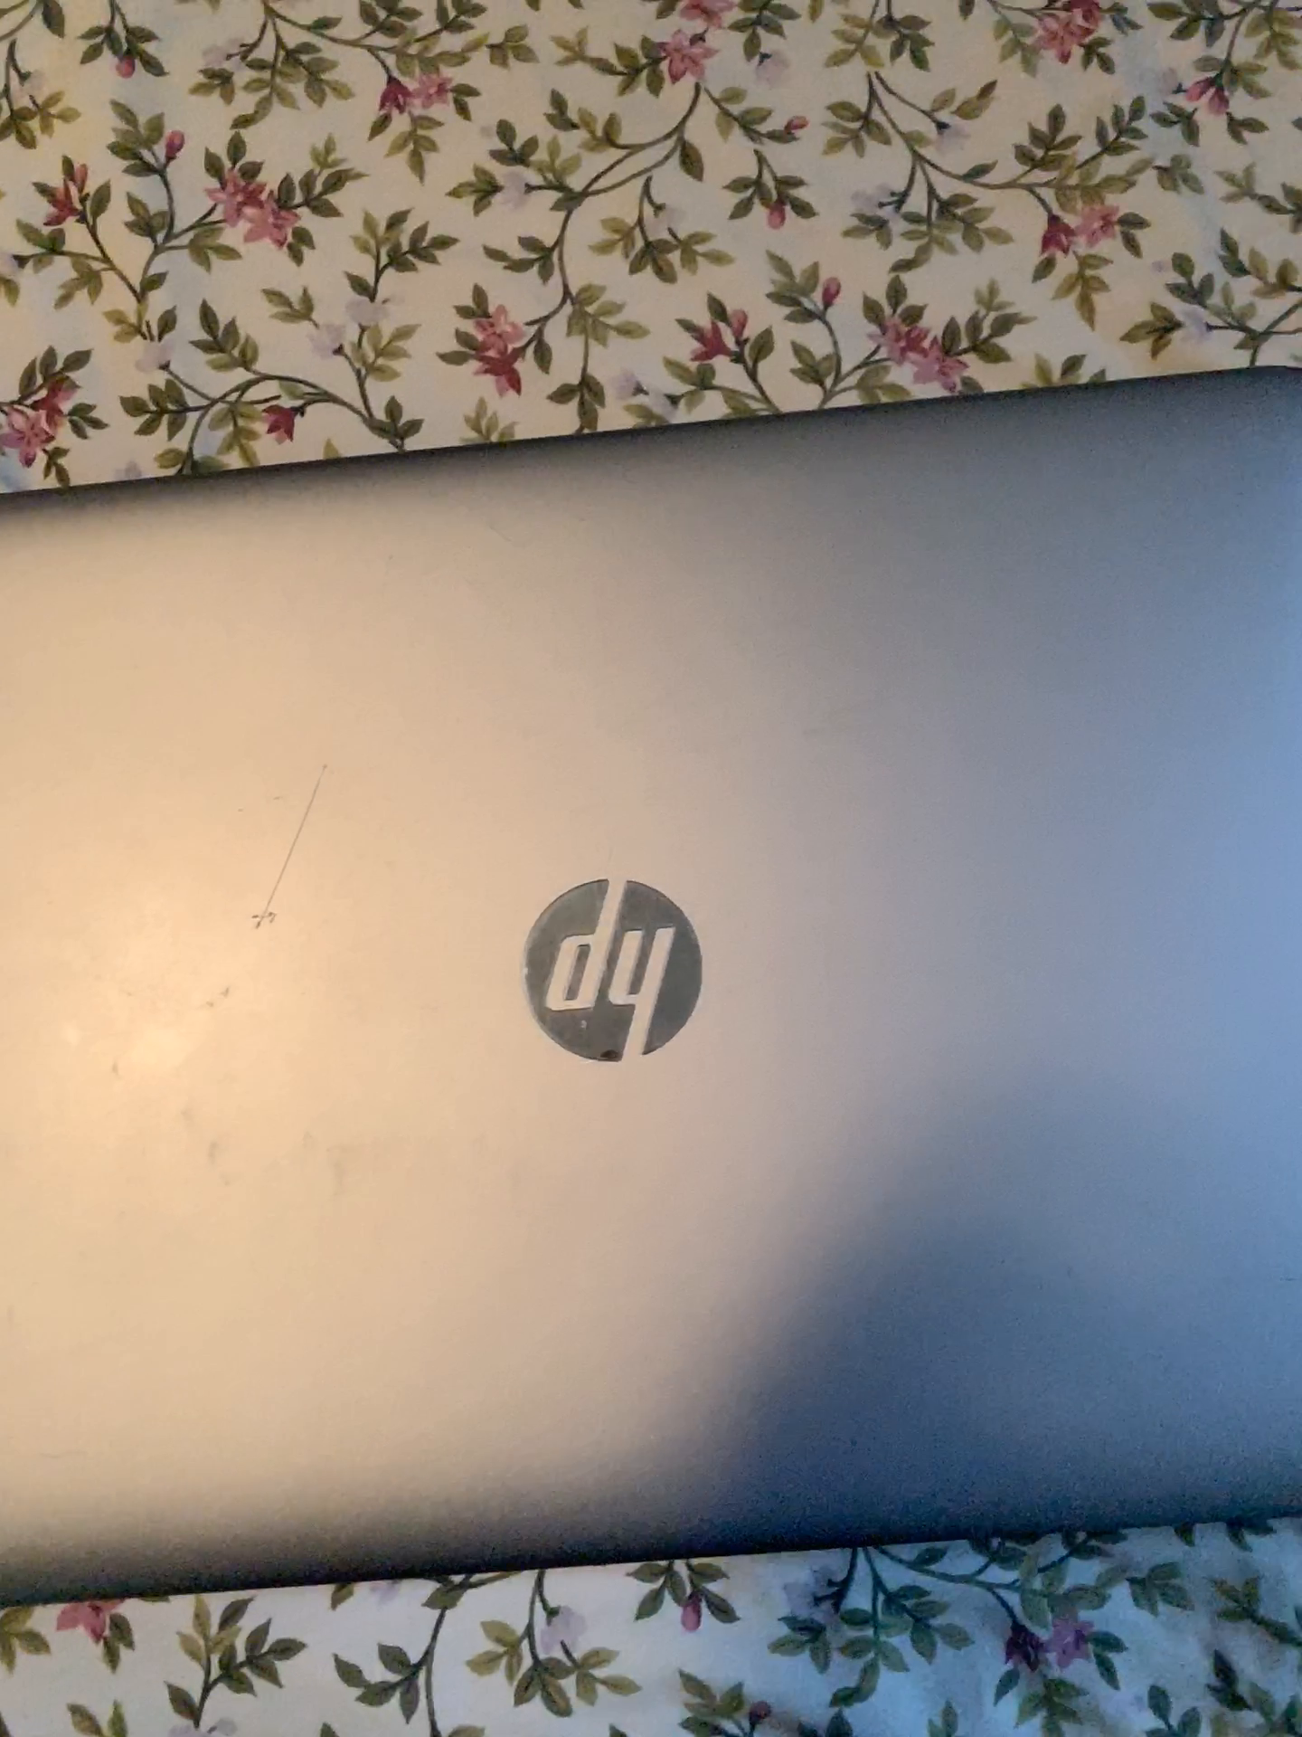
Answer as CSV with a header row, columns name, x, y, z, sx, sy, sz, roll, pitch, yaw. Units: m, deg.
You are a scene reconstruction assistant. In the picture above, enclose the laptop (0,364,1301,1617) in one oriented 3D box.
name,x,y,z,sx,sy,sz,roll,pitch,yaw
laptop,-0.009,0.018,0.280,0.336,0.010,0.228,-5,79,2
